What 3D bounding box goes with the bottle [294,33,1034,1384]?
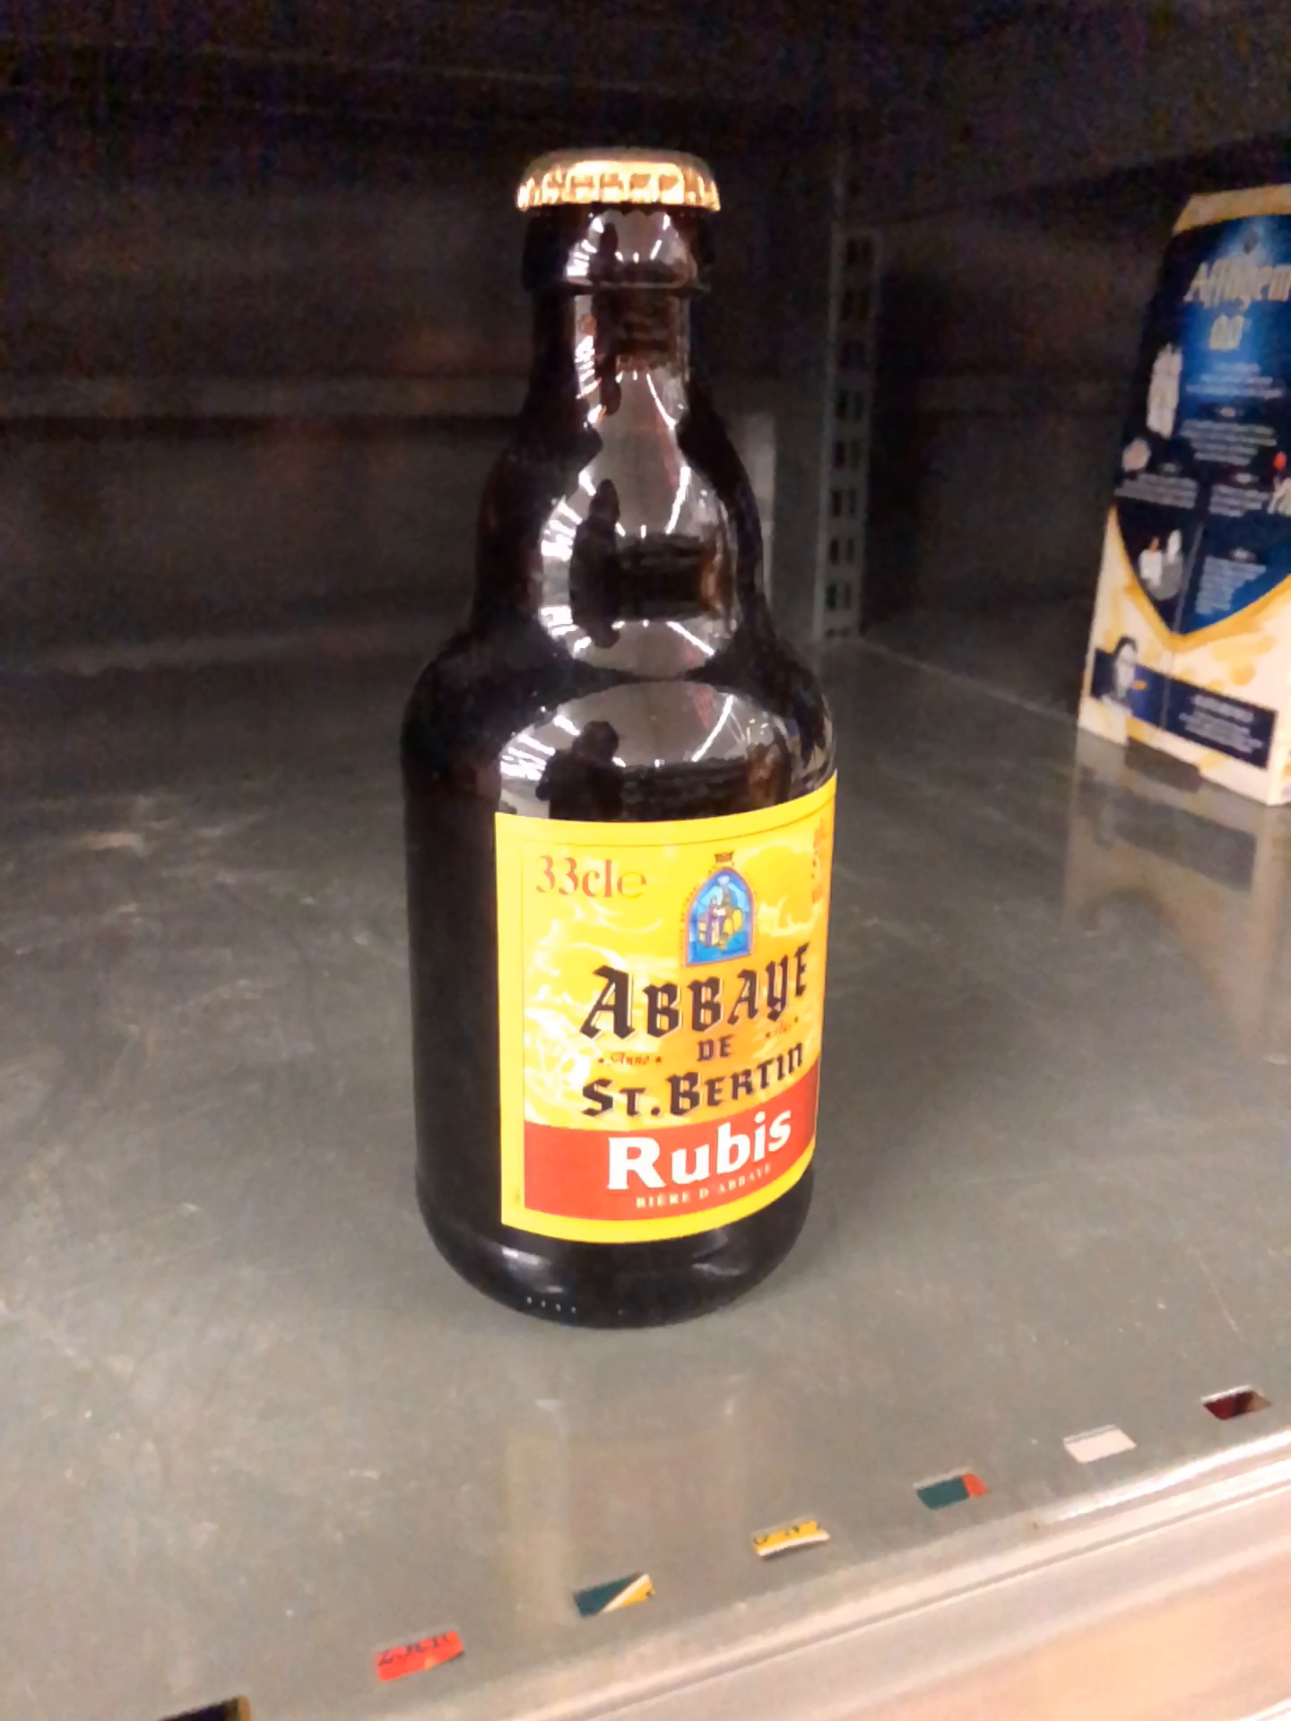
[{"bbox_3d":[-0.002,-0.021,0.222,0.080,0.169,0.070,-7,20,-20],"label":"bottle"}]
